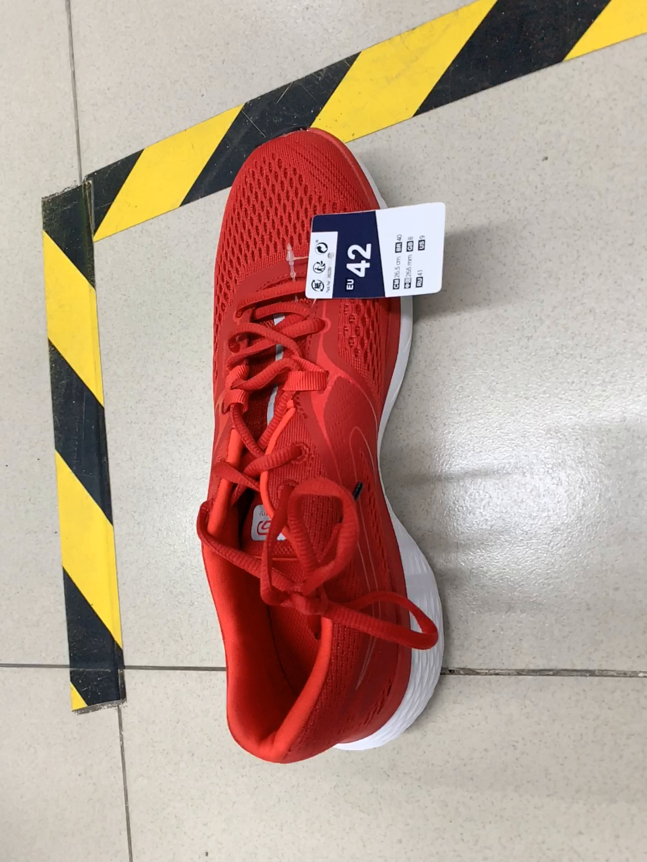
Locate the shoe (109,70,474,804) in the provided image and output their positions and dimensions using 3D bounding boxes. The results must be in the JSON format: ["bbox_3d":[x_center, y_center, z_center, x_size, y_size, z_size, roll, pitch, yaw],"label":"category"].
[{"bbox_3d":[-0.016,0.005,0.317,0.120,0.090,0.280,-9,83,26],"label":"shoe"}]
